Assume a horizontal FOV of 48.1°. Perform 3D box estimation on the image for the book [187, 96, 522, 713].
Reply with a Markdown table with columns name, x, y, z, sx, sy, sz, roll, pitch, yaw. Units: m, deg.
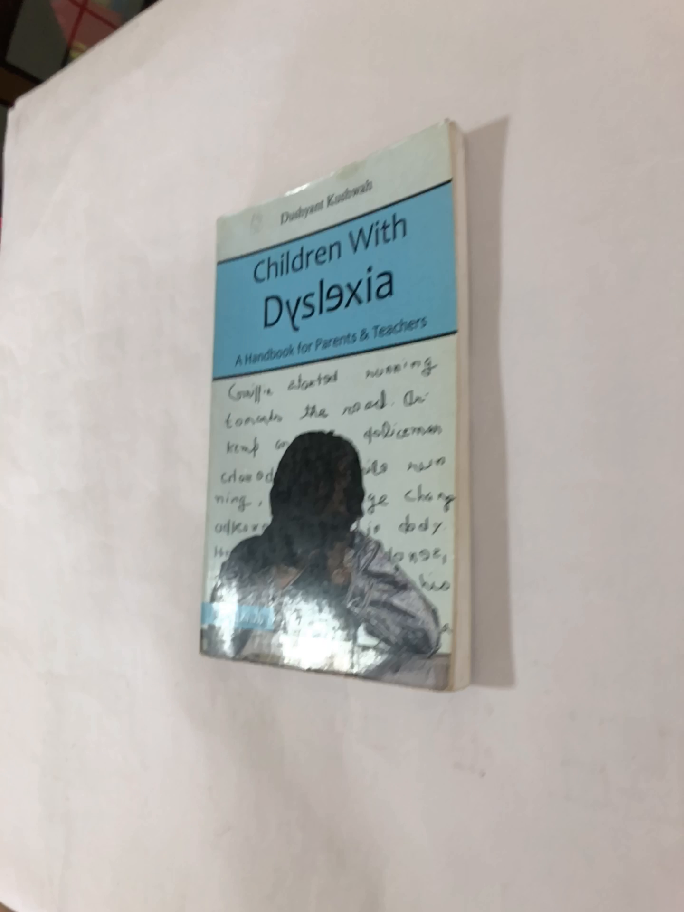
| name | x | y | z | sx | sy | sz | roll | pitch | yaw |
| --- | --- | --- | --- | --- | --- | --- | --- | --- | --- |
| book | -0.001 | -0.016 | 0.327 | 0.151 | 0.030 | 0.220 | -6 | 79 | 40 |
